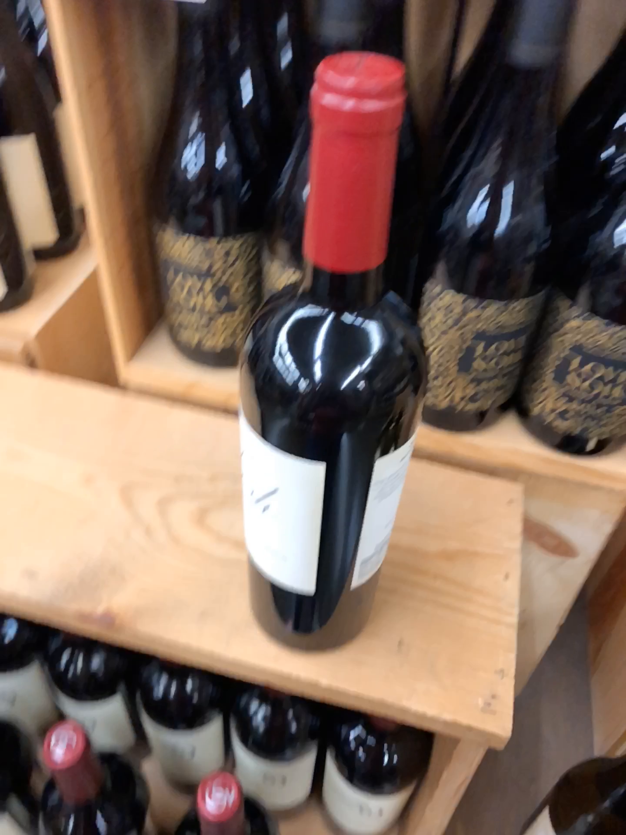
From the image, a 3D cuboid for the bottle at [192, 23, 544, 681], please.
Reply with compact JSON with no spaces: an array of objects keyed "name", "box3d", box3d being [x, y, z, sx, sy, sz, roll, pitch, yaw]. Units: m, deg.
[{"name":"bottle","box3d":[0.006,0.001,0.309,0.080,0.293,0.080,2,44,-2]}]
